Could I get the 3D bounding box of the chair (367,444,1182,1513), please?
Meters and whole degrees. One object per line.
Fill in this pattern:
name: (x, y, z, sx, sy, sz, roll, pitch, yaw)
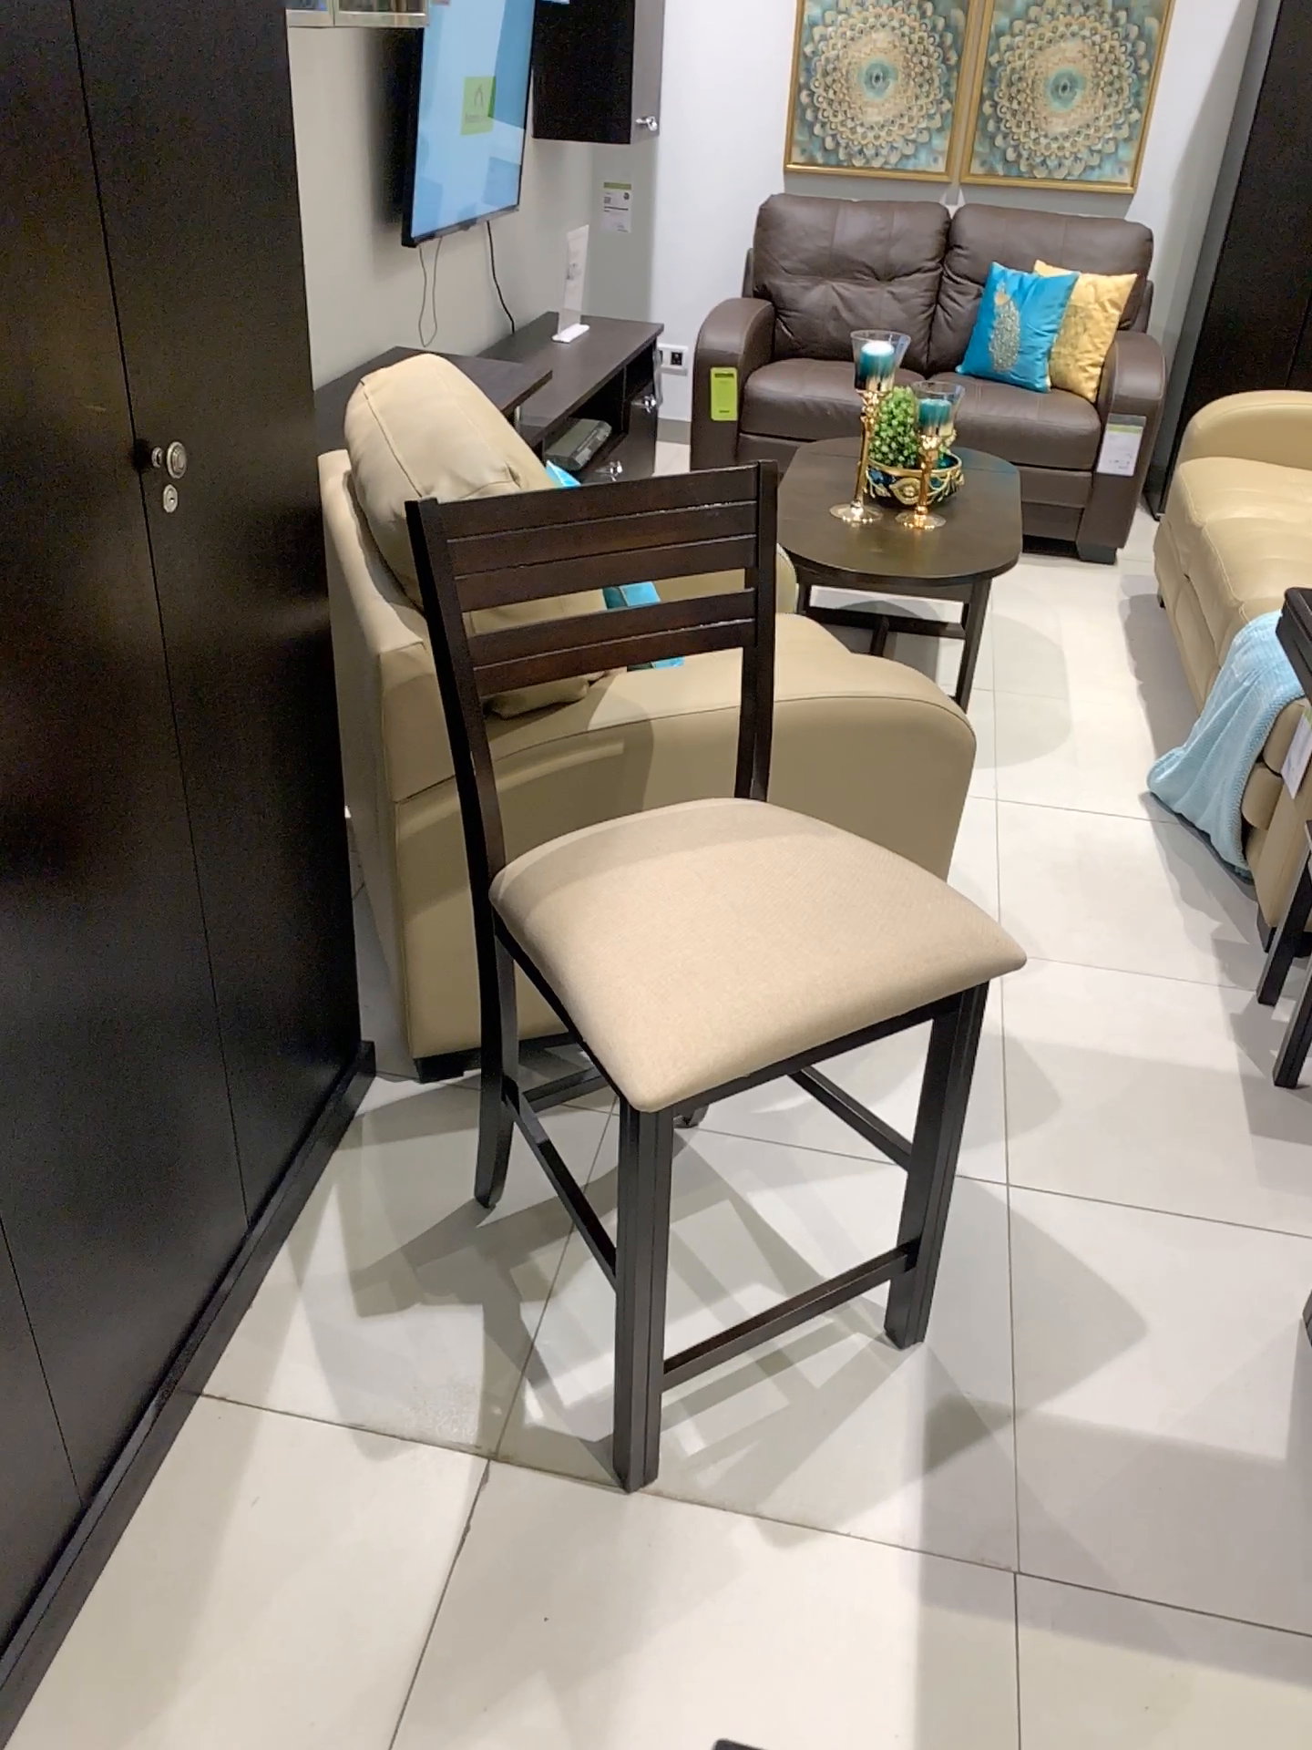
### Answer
chair: (0.061, 0.079, 1.500, 0.521, 0.916, 0.592, -16, 37, -29)
